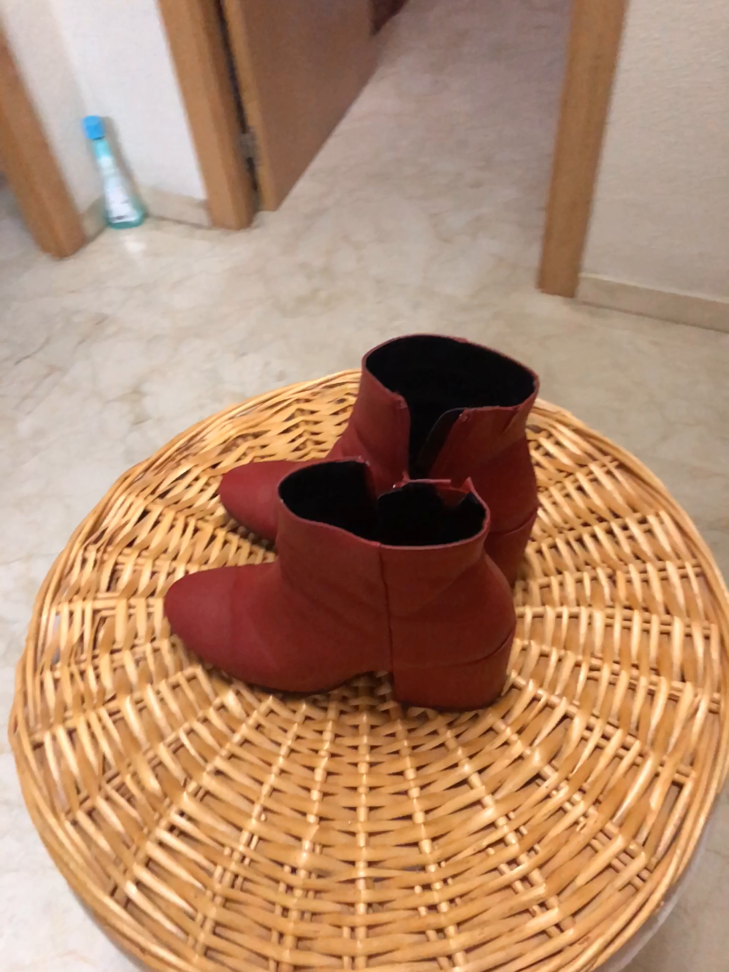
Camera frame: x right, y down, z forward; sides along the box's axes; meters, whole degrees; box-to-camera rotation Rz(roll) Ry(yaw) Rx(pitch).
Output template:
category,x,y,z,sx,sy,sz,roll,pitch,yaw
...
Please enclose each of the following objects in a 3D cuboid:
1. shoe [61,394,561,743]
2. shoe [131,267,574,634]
category,x,y,z,sx,sy,sz,roll,pitch,yaw
shoe,-0.019,0.055,0.490,0.245,0.184,0.099,7,53,10
shoe,-0.003,-0.022,0.550,0.245,0.184,0.099,16,55,17
